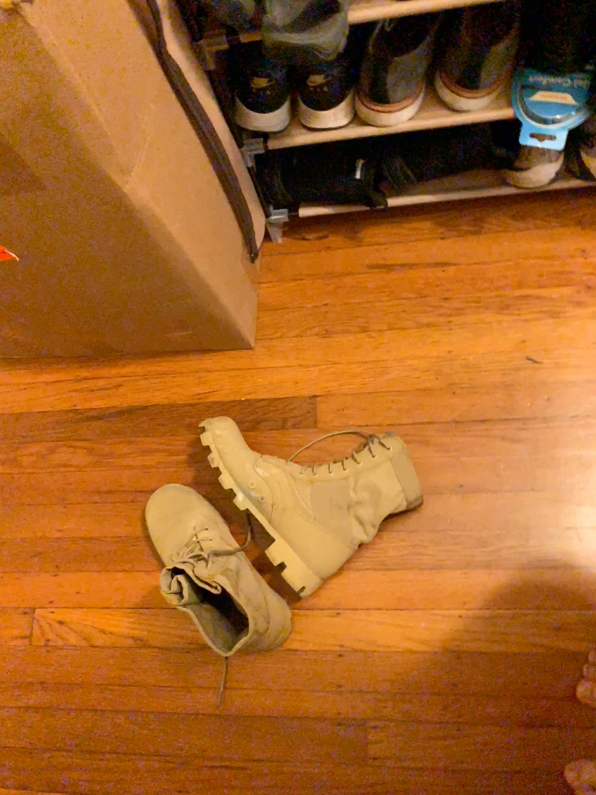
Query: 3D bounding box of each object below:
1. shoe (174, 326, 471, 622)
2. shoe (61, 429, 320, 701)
[{"bbox_3d":[0.030,0.100,0.845,0.260,0.110,0.291,-39,69,-10],"label":"shoe"},{"bbox_3d":[-0.127,0.206,0.780,0.120,0.200,0.291,-43,70,-5],"label":"shoe"}]
